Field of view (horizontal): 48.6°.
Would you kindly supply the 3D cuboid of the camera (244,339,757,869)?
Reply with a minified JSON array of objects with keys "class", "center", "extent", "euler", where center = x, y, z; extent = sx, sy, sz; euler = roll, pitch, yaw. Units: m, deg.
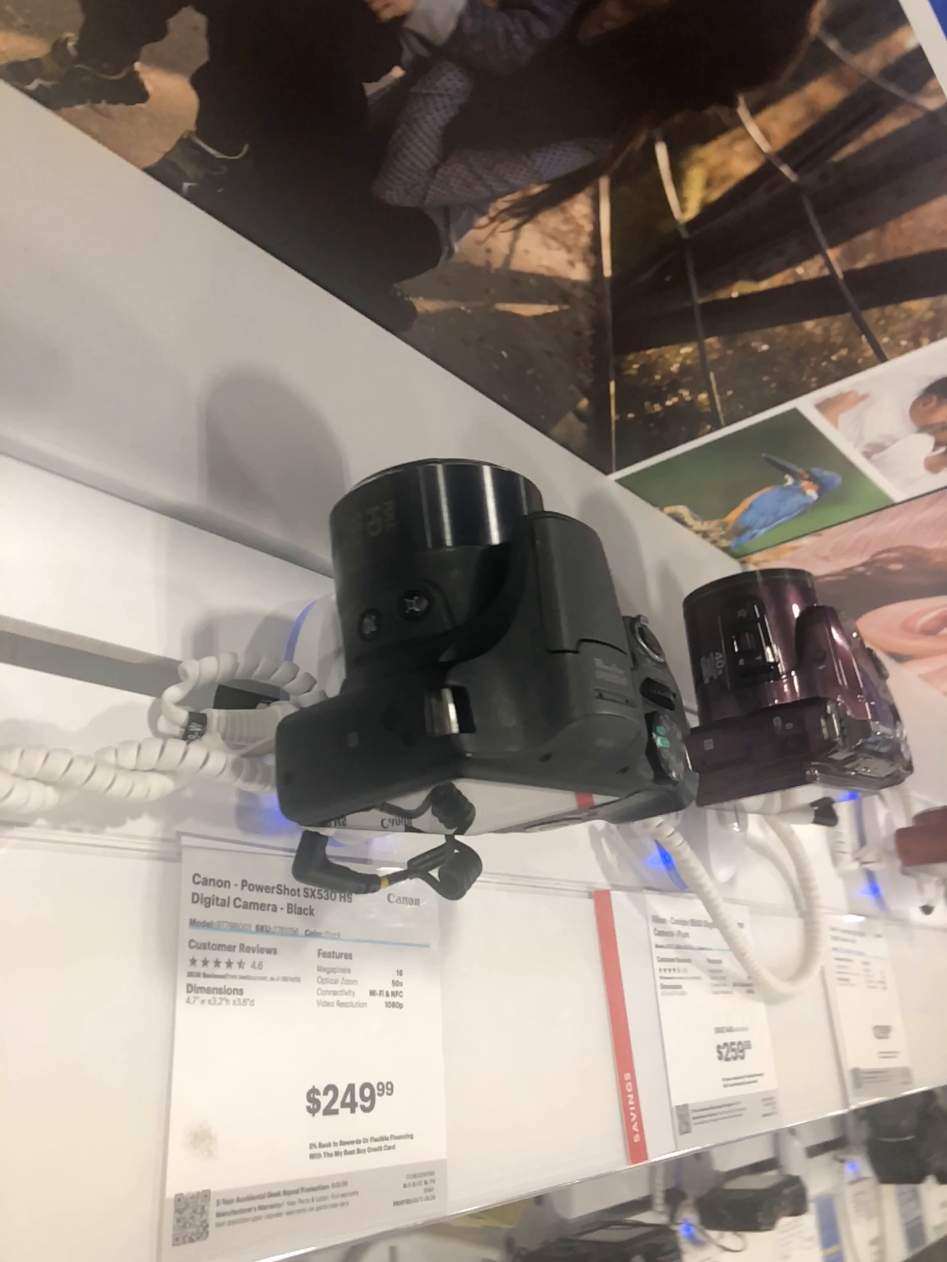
[{"class":"camera","center":[0.010,0.005,0.291],"extent":[0.121,0.069,0.110],"euler":[15,61,-49]}]
